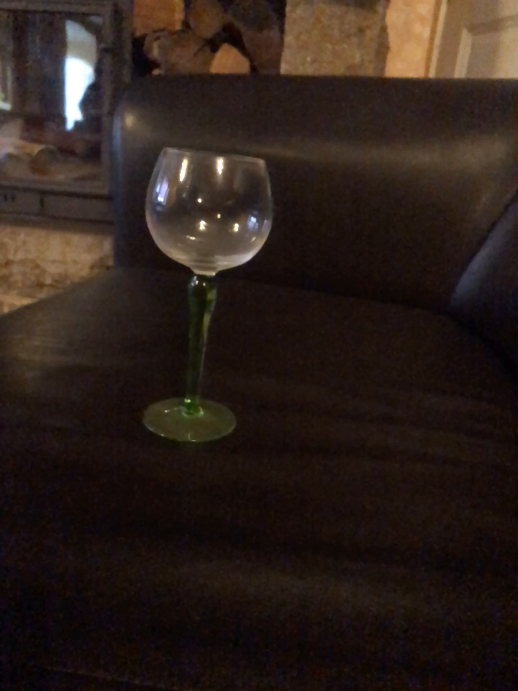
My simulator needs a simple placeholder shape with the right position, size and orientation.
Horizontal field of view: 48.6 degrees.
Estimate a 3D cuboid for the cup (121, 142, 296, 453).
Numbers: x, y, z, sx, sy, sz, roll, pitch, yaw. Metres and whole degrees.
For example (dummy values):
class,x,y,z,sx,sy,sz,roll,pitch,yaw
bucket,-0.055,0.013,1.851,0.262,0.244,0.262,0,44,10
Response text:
class,x,y,z,sx,sy,sz,roll,pitch,yaw
cup,-0.034,-0.035,0.394,0.079,0.185,0.080,7,17,-2
